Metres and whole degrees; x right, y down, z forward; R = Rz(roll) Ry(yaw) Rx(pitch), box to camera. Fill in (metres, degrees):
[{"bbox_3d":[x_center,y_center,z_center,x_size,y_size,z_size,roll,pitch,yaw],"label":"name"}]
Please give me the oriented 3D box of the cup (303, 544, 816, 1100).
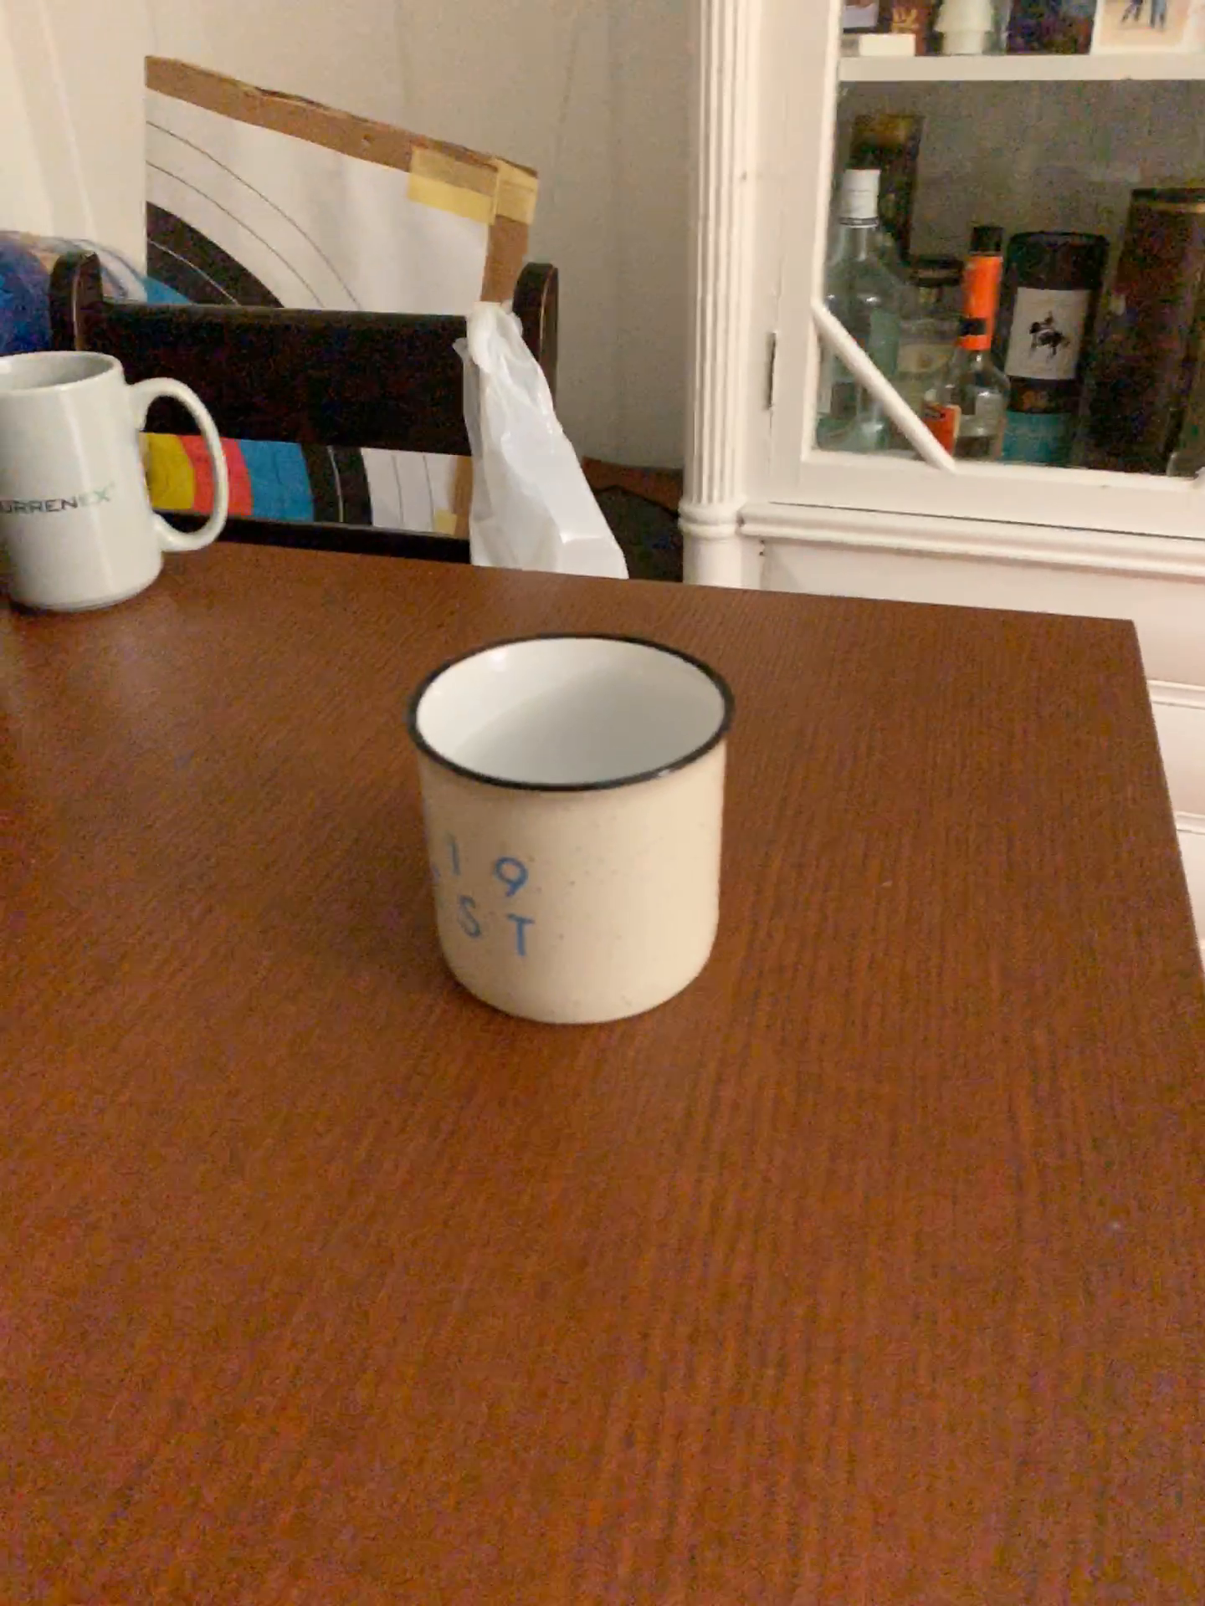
[{"bbox_3d":[-0.019,-0.005,0.405,0.100,0.099,0.151,-17,35,-23],"label":"cup"}]
